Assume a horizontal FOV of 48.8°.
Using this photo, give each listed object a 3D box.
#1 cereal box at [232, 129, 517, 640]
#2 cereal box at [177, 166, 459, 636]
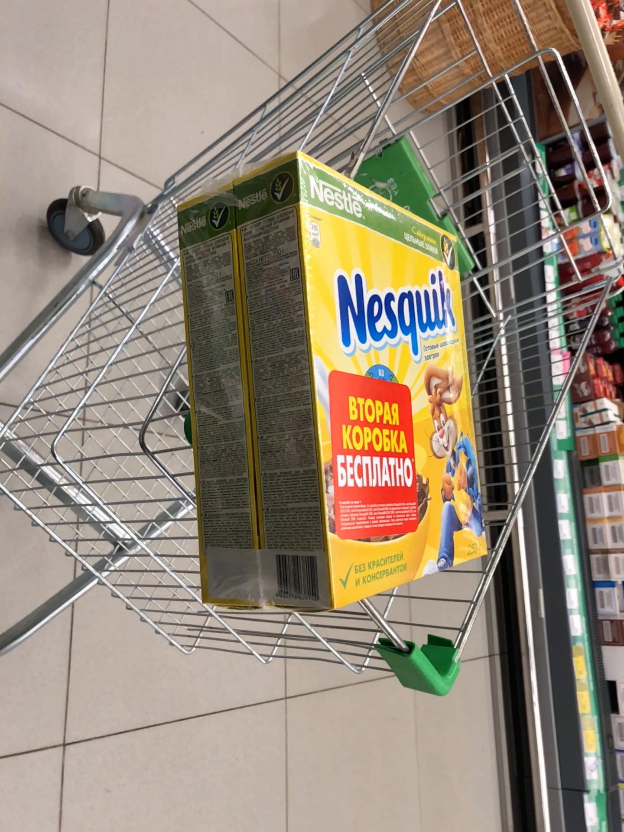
[{"bbox_3d":[0.051,-0.013,0.419,0.211,0.050,0.240,2,81,-55],"label":"cereal box"},{"bbox_3d":[0.016,-0.006,0.448,0.211,0.050,0.240,2,81,-55],"label":"cereal box"}]
